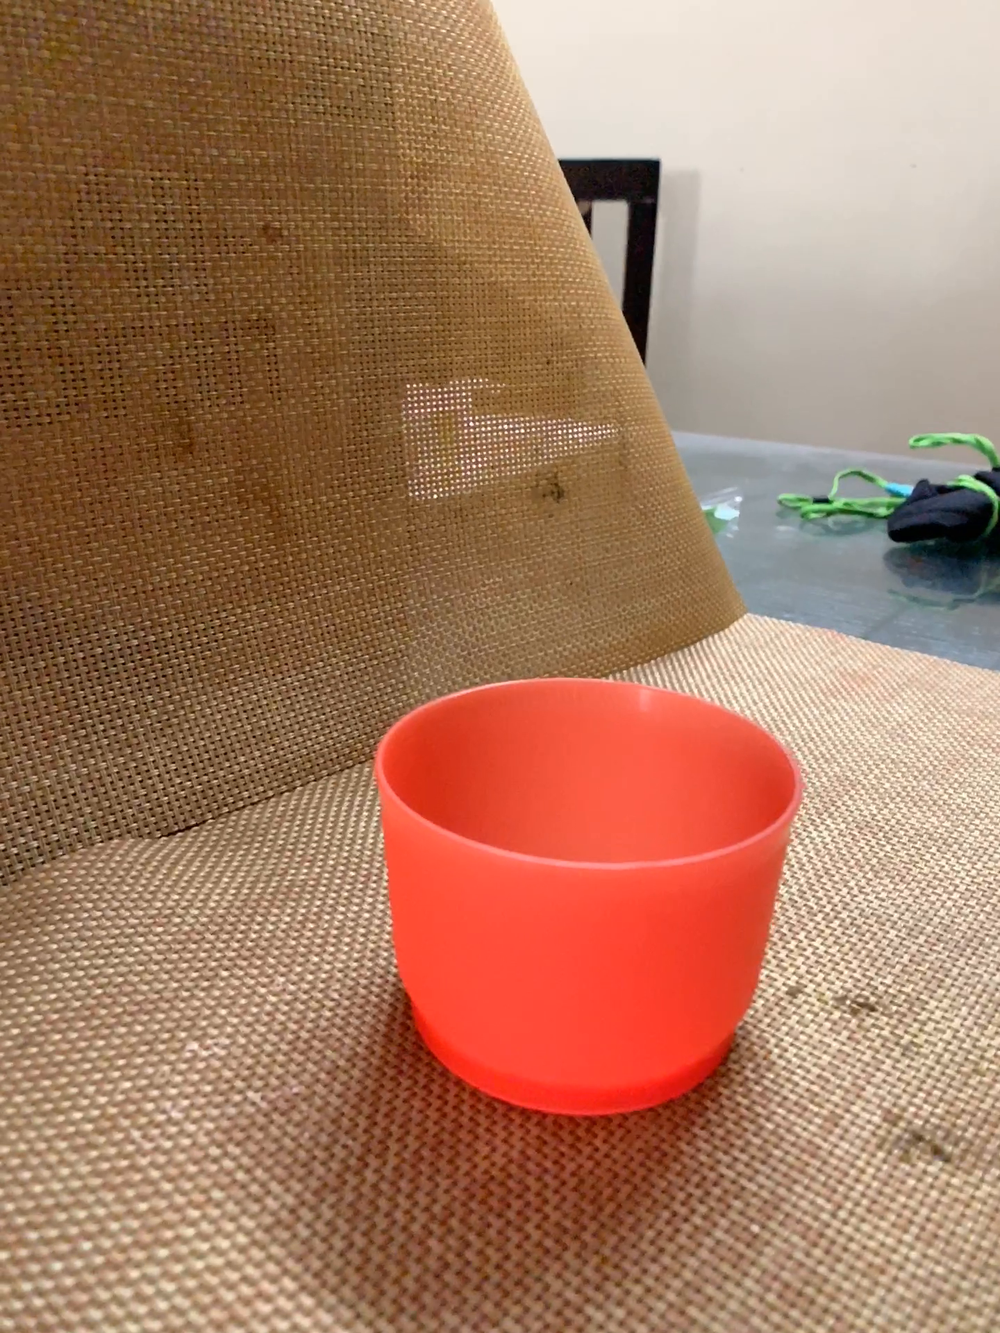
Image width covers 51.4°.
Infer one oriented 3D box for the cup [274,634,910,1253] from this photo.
[{"bbox_3d":[0.019,0.036,0.185,0.078,0.050,0.082,1,20,0],"label":"cup"}]
